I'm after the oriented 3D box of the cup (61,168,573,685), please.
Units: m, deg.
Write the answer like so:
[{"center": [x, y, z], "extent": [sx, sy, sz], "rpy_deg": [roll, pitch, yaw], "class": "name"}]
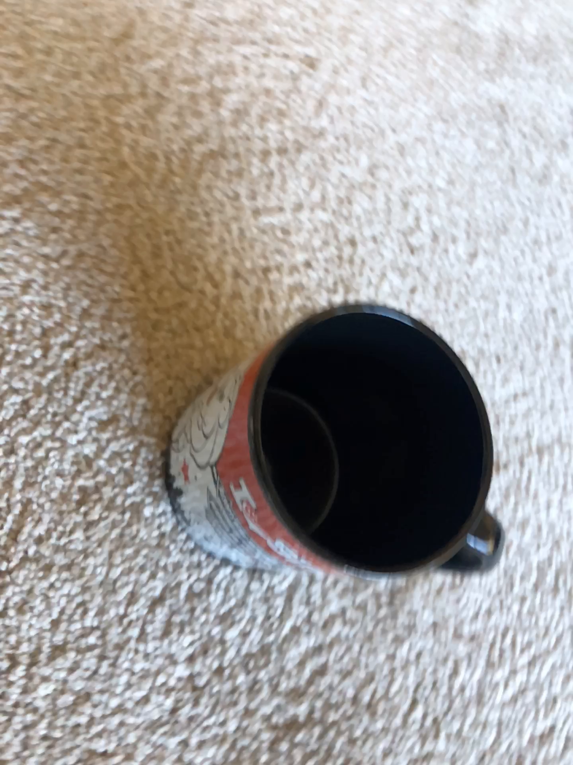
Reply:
[{"center": [0.010, 0.021, 0.225], "extent": [0.130, 0.090, 0.090], "rpy_deg": [37, 63, -11], "class": "cup"}]
